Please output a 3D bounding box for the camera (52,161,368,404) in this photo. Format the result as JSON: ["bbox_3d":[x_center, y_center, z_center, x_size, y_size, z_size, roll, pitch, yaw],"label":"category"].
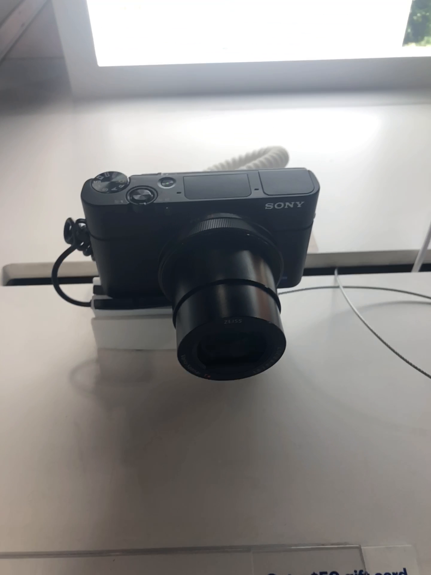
[{"bbox_3d":[-0.002,-0.002,0.210,0.105,0.074,0.070,-2,44,-1],"label":"camera"}]
